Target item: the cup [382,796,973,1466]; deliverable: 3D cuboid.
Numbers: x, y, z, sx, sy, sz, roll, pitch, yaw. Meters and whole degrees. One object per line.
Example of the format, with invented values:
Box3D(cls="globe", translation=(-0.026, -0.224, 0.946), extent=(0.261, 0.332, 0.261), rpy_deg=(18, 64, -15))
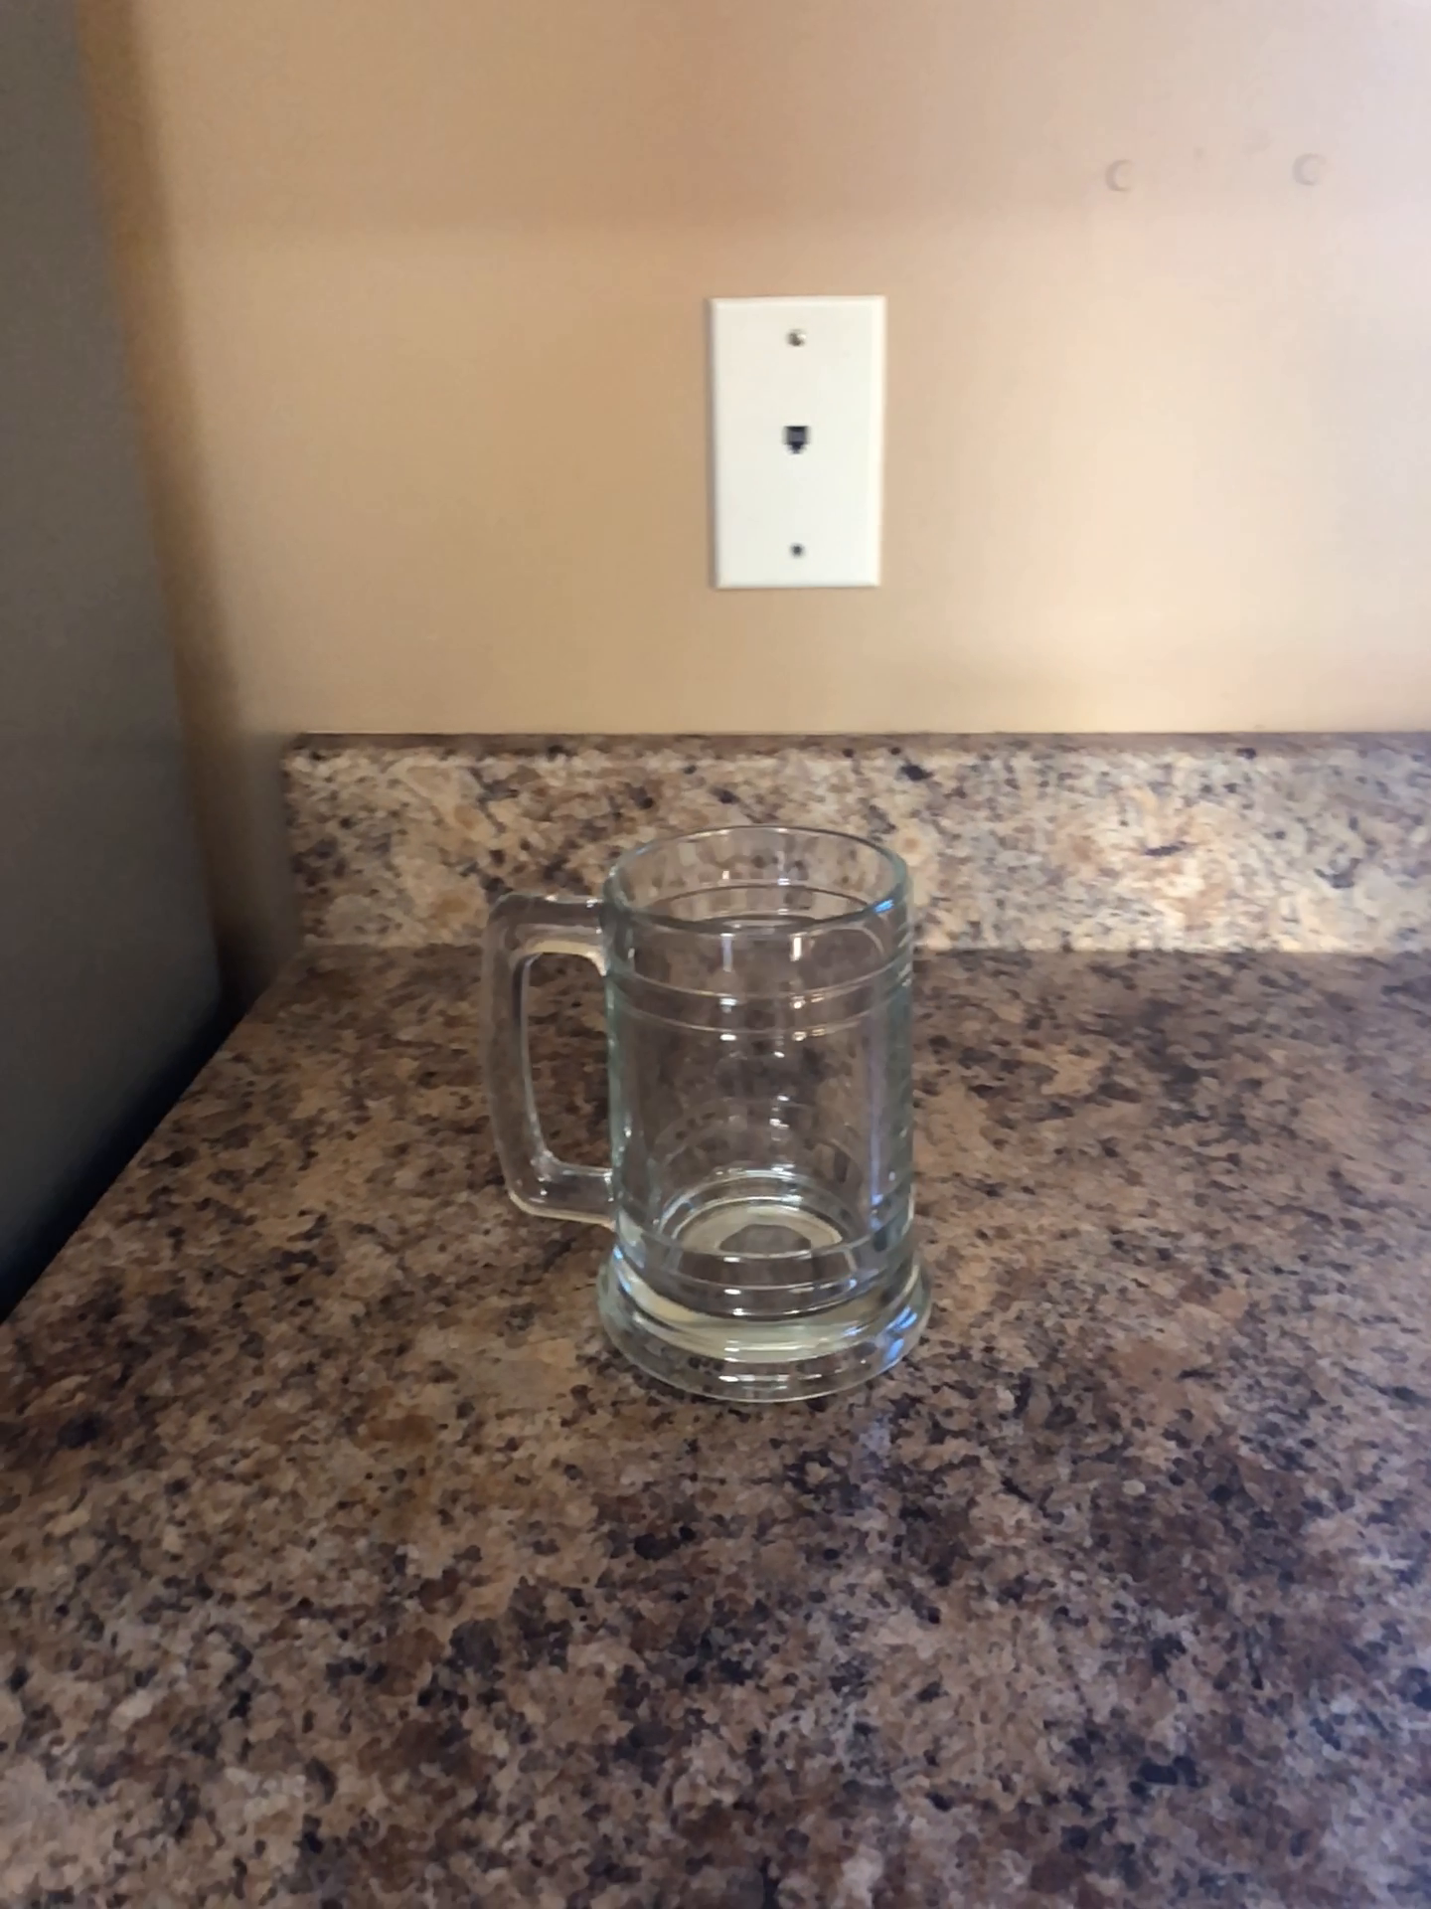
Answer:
Box3D(cls="cup", translation=(-0.004, 0.042, 0.445), extent=(0.130, 0.139, 0.100), rpy_deg=(6, 23, 18))
